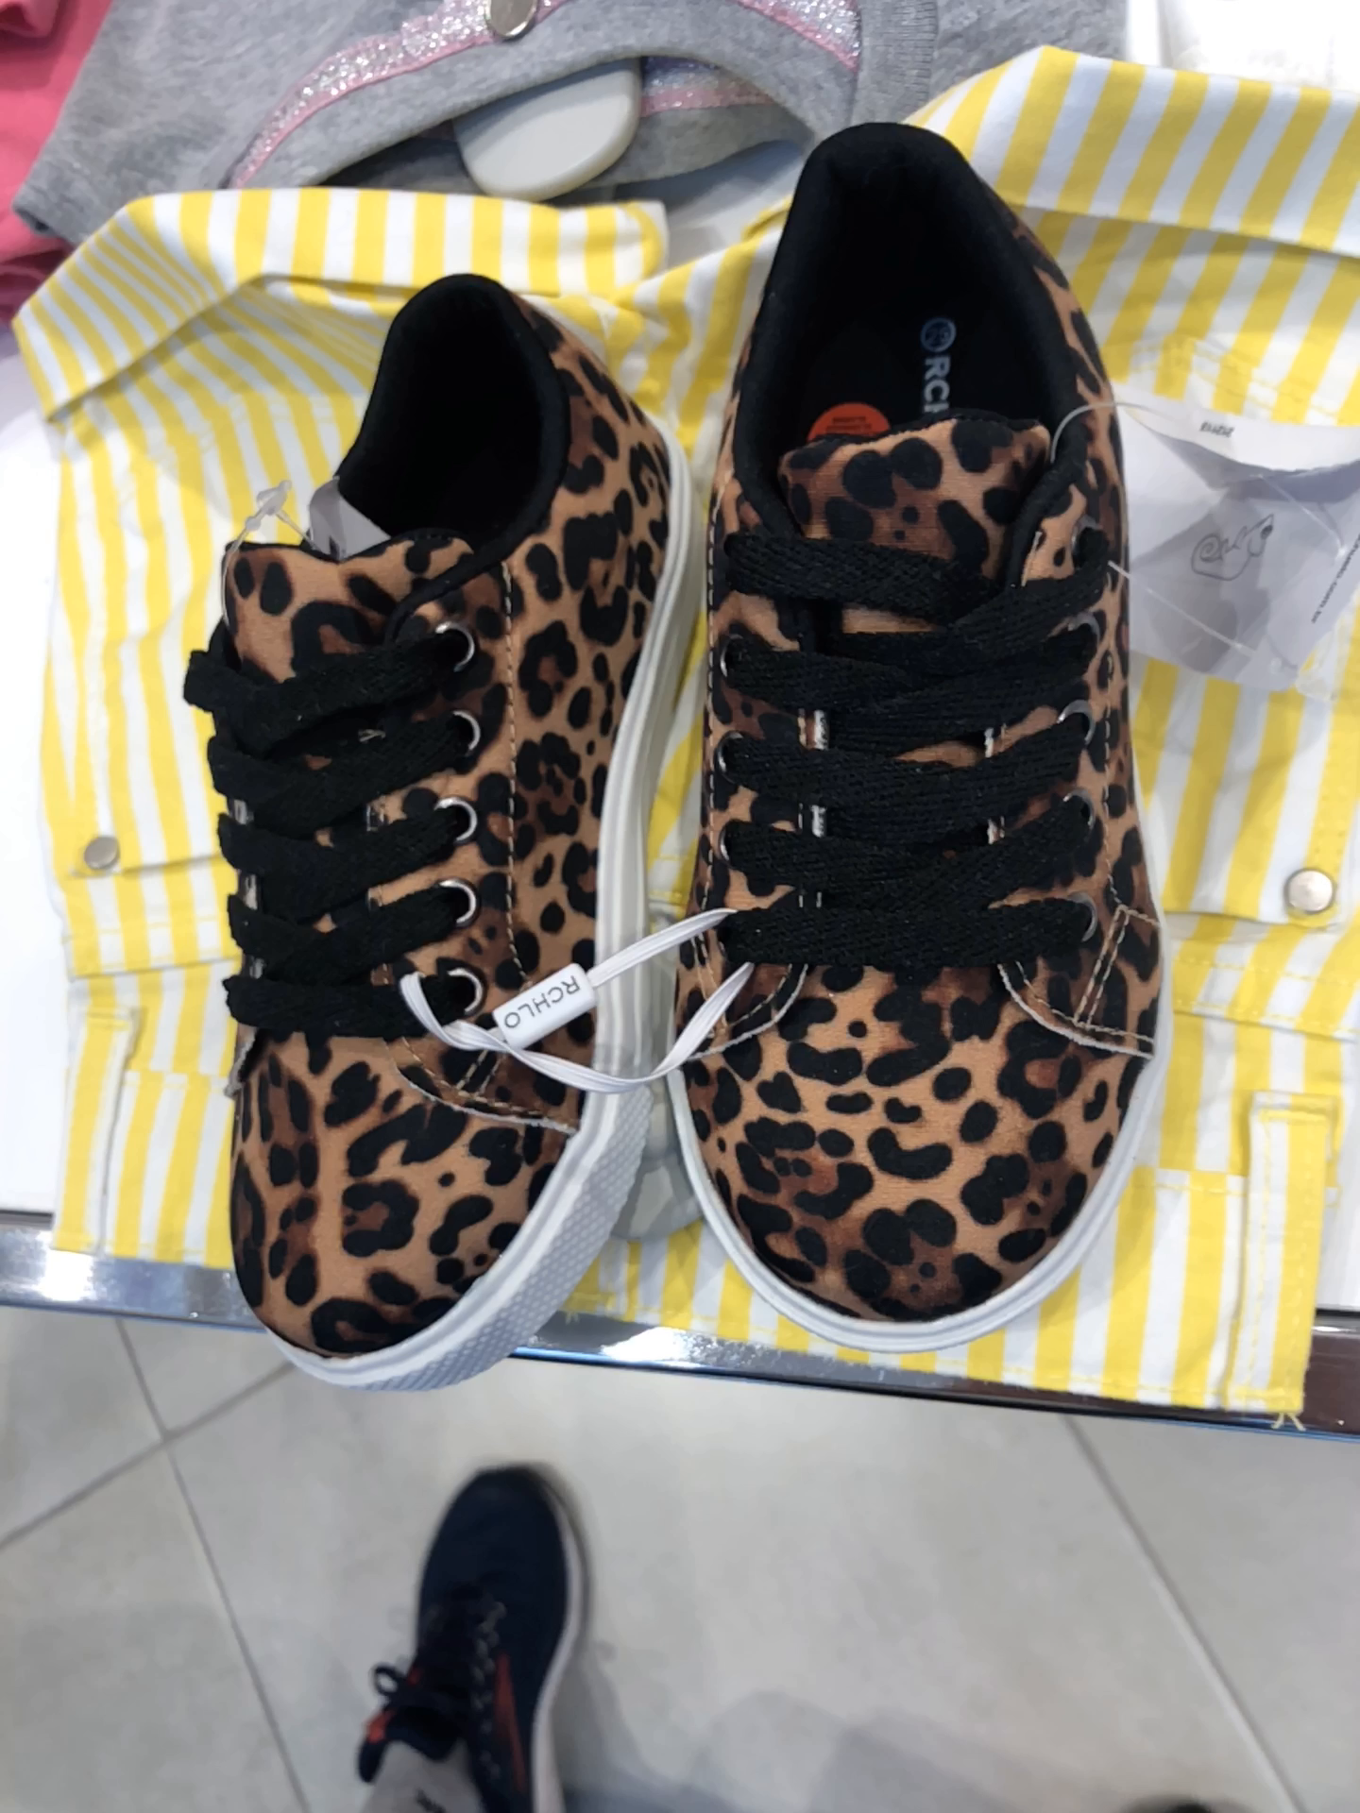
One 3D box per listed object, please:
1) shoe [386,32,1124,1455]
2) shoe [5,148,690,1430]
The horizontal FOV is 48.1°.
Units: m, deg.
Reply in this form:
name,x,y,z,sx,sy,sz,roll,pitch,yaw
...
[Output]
name,x,y,z,sx,sy,sz,roll,pitch,yaw
shoe,0.019,-0.021,0.228,0.080,0.080,0.170,4,84,16
shoe,-0.053,-0.015,0.248,0.080,0.060,0.170,-2,82,43
